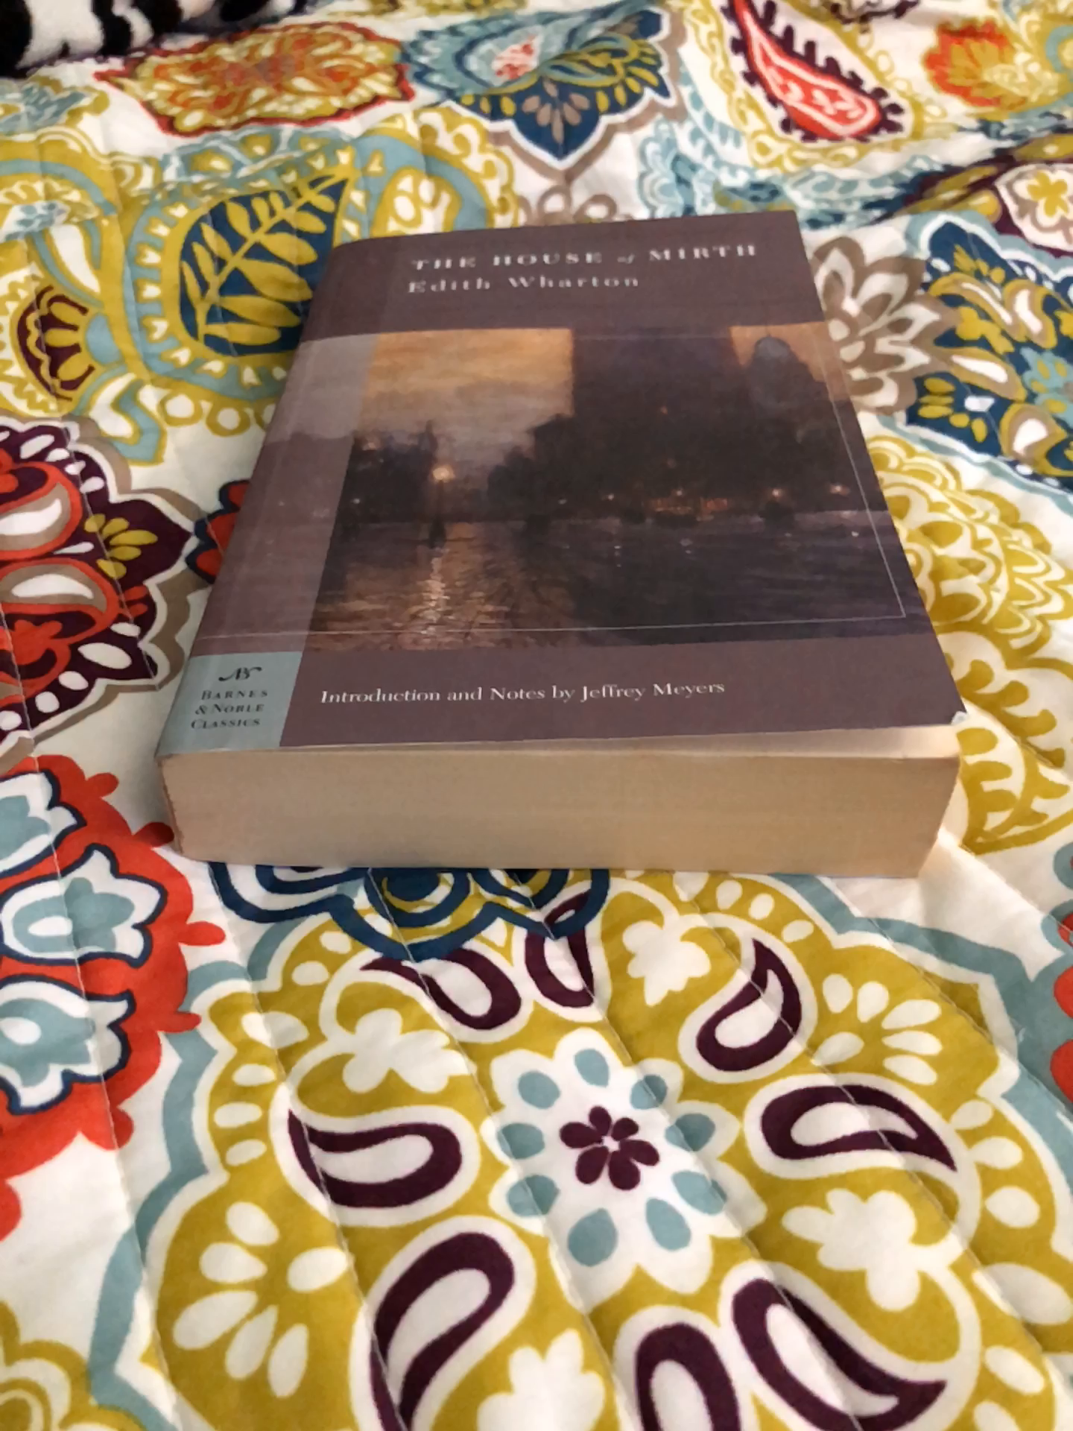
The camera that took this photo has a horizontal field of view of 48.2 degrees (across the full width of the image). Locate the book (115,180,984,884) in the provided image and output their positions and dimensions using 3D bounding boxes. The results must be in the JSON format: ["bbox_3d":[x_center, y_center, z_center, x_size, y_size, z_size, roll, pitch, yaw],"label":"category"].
[{"bbox_3d":[0.005,-0.055,0.275,0.141,0.040,0.196,-1,48,5],"label":"book"}]
